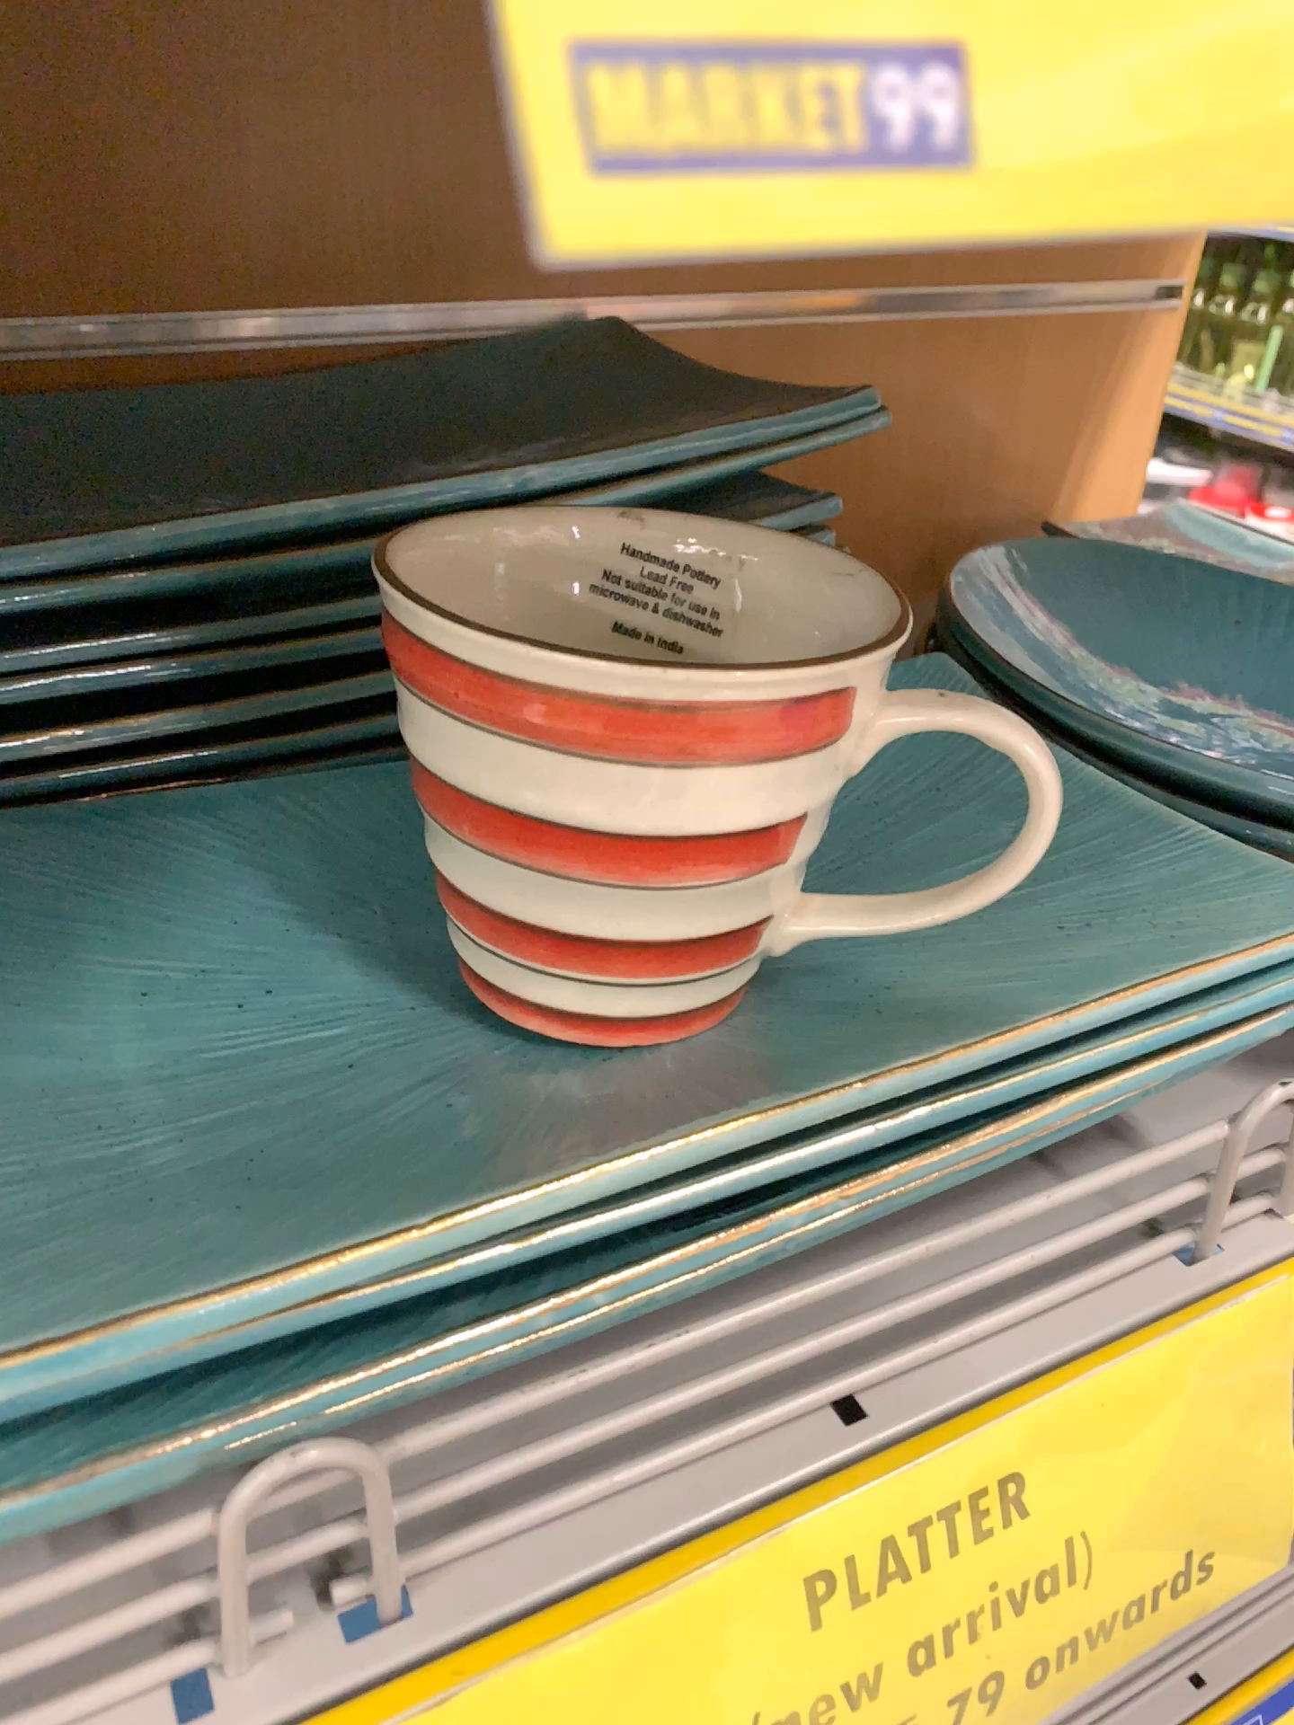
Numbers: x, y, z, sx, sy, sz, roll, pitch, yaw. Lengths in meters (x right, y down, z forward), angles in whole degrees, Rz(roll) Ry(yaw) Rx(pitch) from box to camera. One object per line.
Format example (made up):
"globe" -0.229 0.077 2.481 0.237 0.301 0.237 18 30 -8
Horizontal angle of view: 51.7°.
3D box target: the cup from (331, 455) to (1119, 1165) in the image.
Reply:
"cup" 0.019 -0.021 0.283 0.130 0.090 0.100 14 31 16
